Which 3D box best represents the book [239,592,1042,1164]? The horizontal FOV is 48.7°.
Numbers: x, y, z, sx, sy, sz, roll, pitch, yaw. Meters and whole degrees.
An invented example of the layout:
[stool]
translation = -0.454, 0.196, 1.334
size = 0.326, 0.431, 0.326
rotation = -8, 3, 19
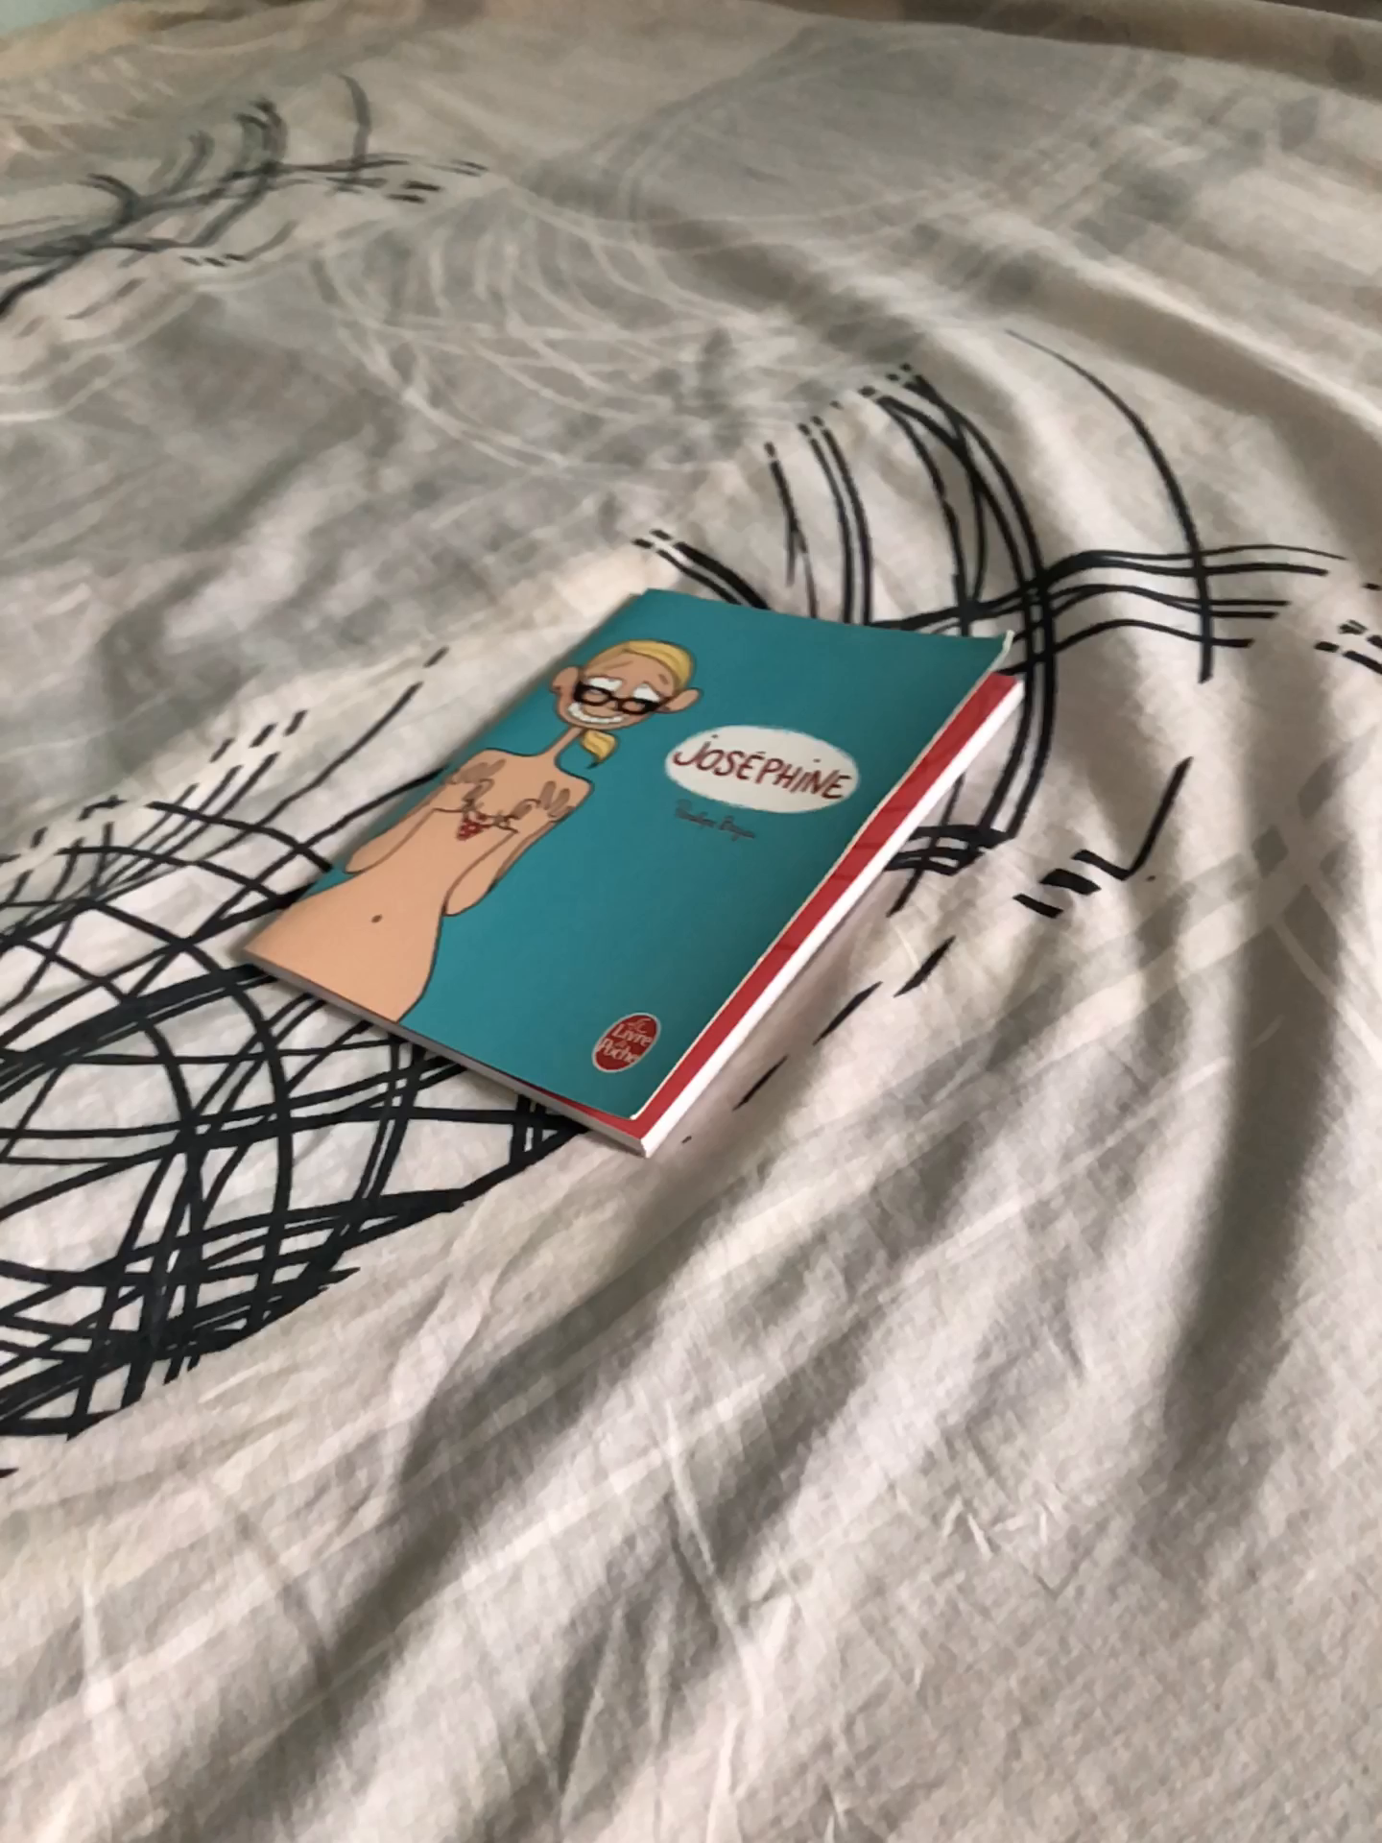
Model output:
[book]
translation = -0.011, -0.028, 0.428
size = 0.144, 0.014, 0.188
rotation = 18, 51, 36
